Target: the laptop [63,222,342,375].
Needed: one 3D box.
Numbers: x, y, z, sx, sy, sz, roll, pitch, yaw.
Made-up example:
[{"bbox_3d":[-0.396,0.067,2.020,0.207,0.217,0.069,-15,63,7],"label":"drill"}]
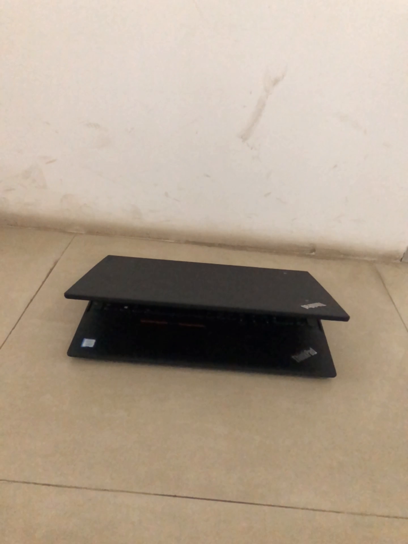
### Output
[{"bbox_3d":[-0.002,0.027,0.673,0.349,0.071,0.238,4,35,0],"label":"laptop"}]
